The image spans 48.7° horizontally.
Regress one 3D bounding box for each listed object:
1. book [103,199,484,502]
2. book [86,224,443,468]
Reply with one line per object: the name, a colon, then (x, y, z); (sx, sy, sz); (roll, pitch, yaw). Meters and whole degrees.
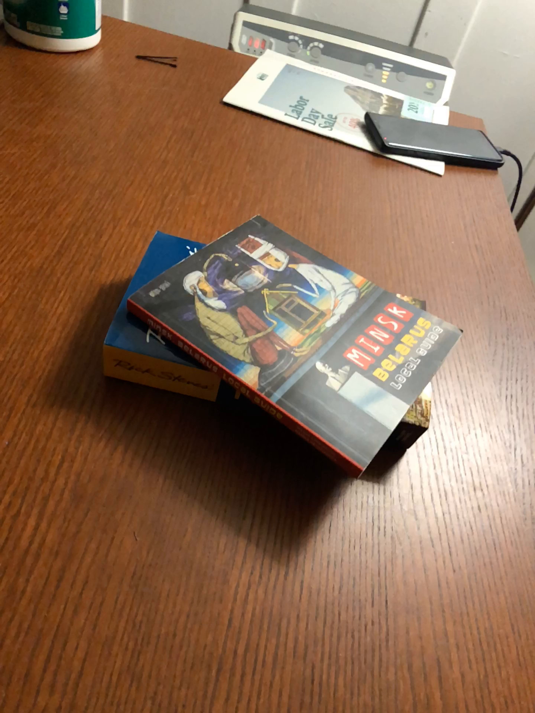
book: (0.022, -0.021, 0.371); (0.190, 0.020, 0.151); (33, 47, 15)
book: (0.005, -0.013, 0.412); (0.220, 0.040, 0.131); (14, 45, -3)
